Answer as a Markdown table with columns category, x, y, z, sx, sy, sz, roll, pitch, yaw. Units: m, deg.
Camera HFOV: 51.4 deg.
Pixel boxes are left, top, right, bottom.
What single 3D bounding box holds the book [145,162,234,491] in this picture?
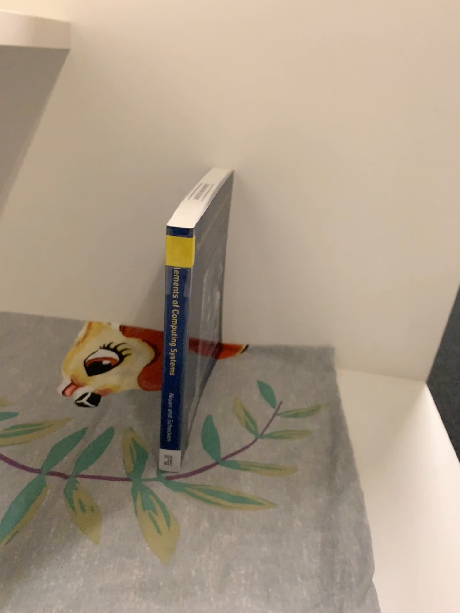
| category | x | y | z | sx | sy | sz | roll | pitch | yaw |
| --- | --- | --- | --- | --- | --- | --- | --- | --- | --- |
| book | -0.035 | 0.004 | 0.464 | 0.030 | 0.238 | 0.222 | 8 | 27 | 4 |
